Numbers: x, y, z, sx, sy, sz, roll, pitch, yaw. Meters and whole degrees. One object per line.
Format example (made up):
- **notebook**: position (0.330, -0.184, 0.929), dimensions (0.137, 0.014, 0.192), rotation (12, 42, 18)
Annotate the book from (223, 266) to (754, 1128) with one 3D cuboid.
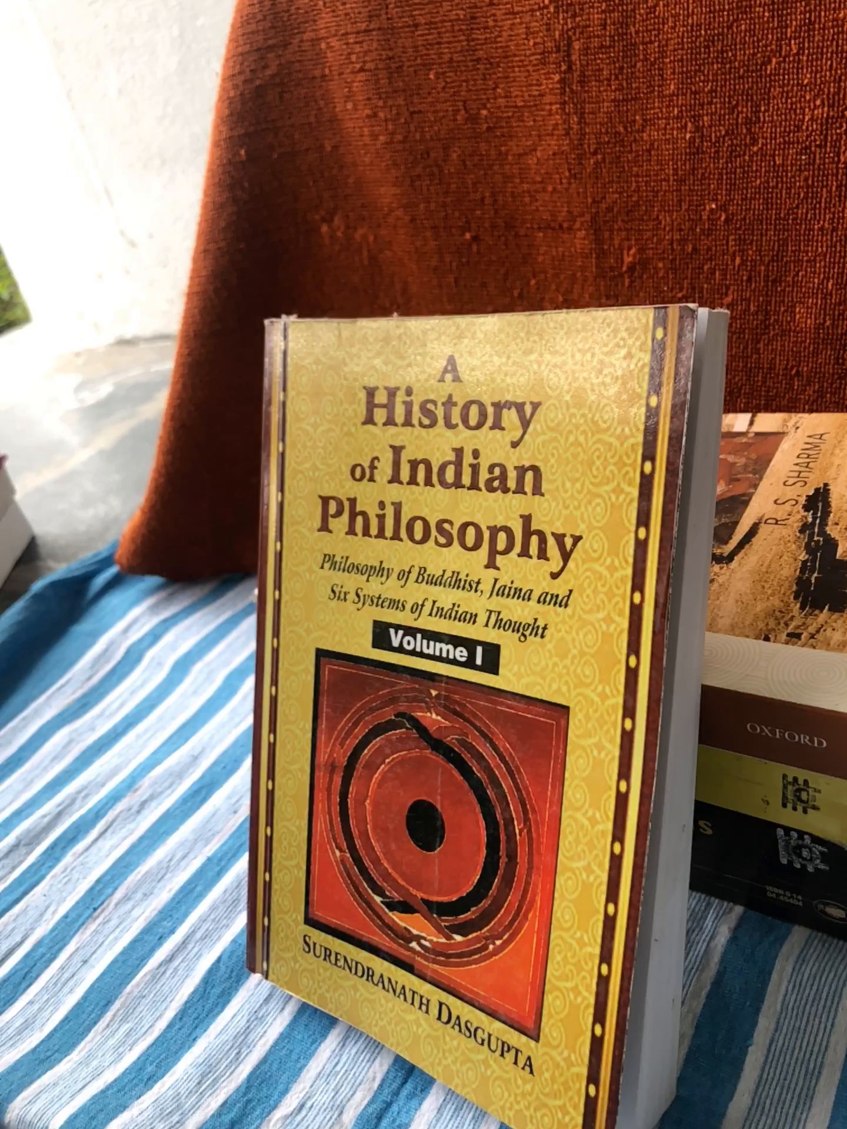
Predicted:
- **book**: position (0.008, 0.034, 0.276), dimensions (0.141, 0.216, 0.048), rotation (8, 8, 40)
